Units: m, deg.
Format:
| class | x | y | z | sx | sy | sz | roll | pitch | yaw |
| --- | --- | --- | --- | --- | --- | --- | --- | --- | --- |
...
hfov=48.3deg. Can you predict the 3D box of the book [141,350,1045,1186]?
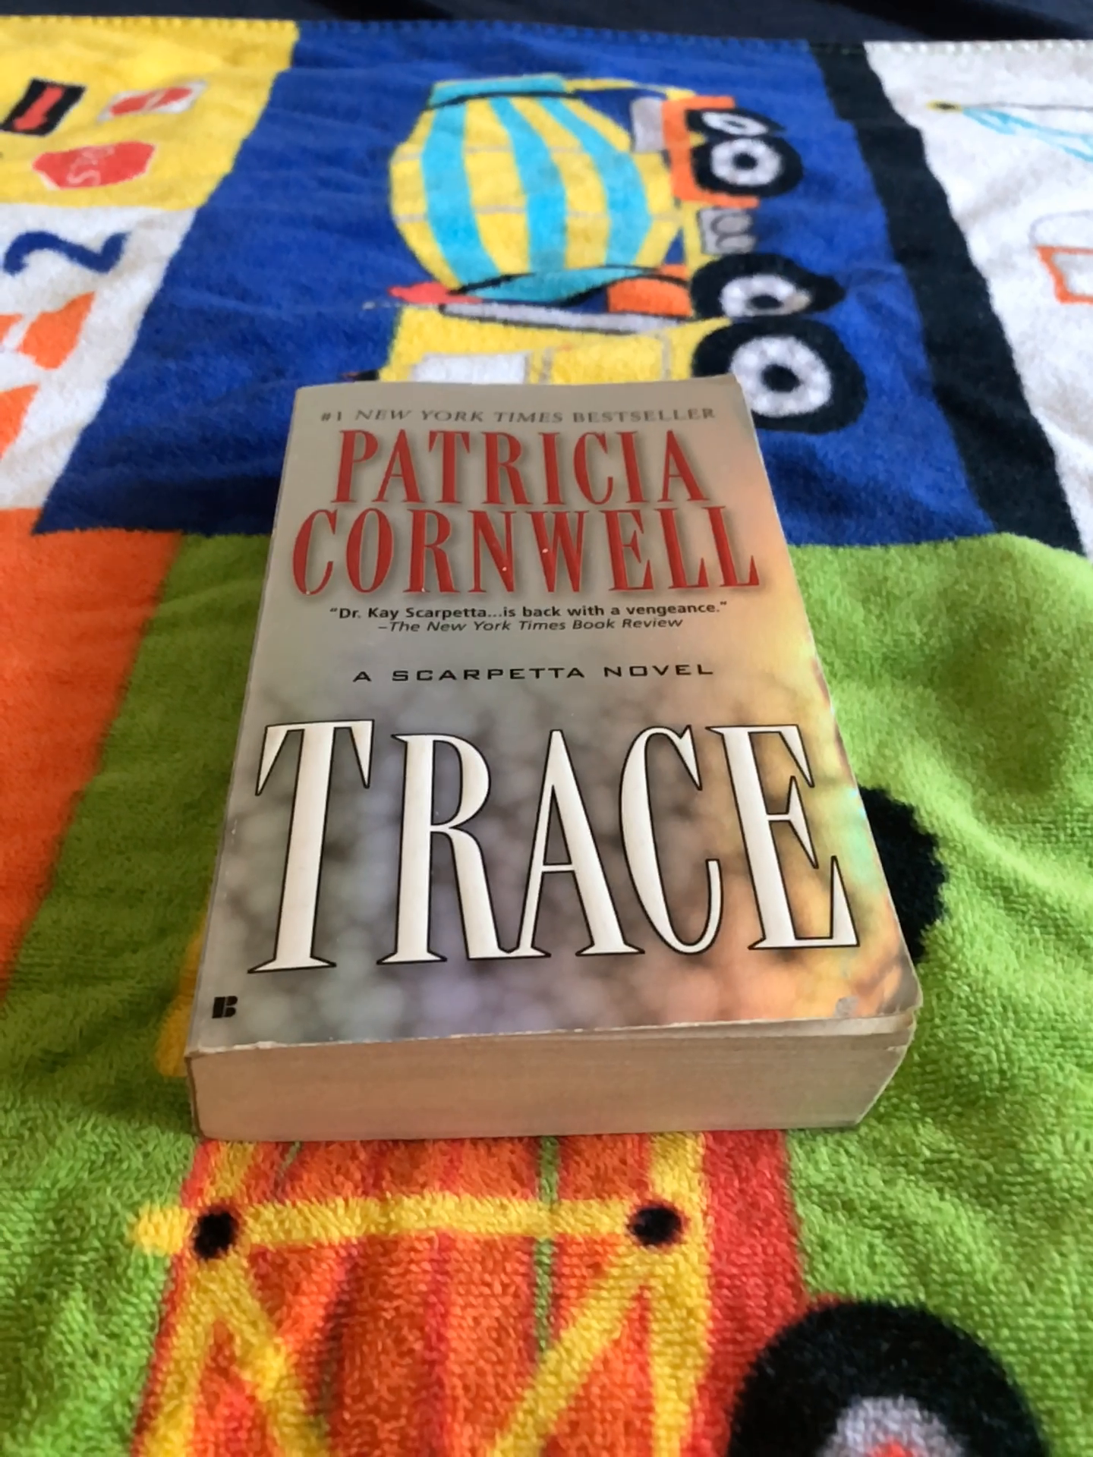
| class | x | y | z | sx | sy | sz | roll | pitch | yaw |
| --- | --- | --- | --- | --- | --- | --- | --- | --- | --- |
| book | 0.004 | -0.009 | 0.239 | 0.120 | 0.040 | 0.181 | -1 | 46 | -1 |
